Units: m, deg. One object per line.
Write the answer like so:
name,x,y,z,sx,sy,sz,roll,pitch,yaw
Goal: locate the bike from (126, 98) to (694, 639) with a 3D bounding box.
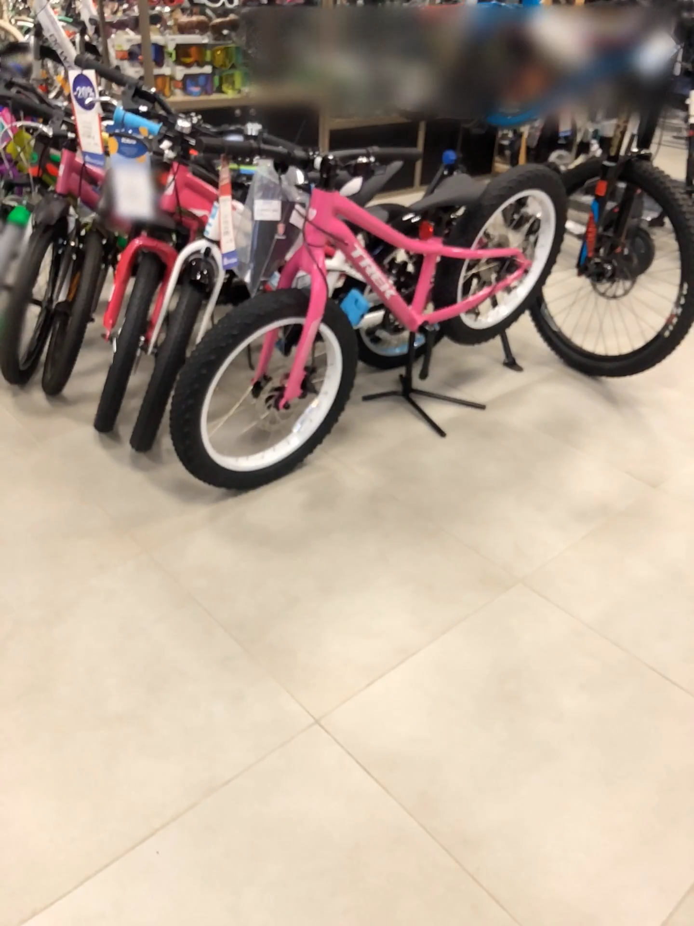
bike,0.184,-0.359,1.922,1.339,0.668,0.572,-29,44,-31
